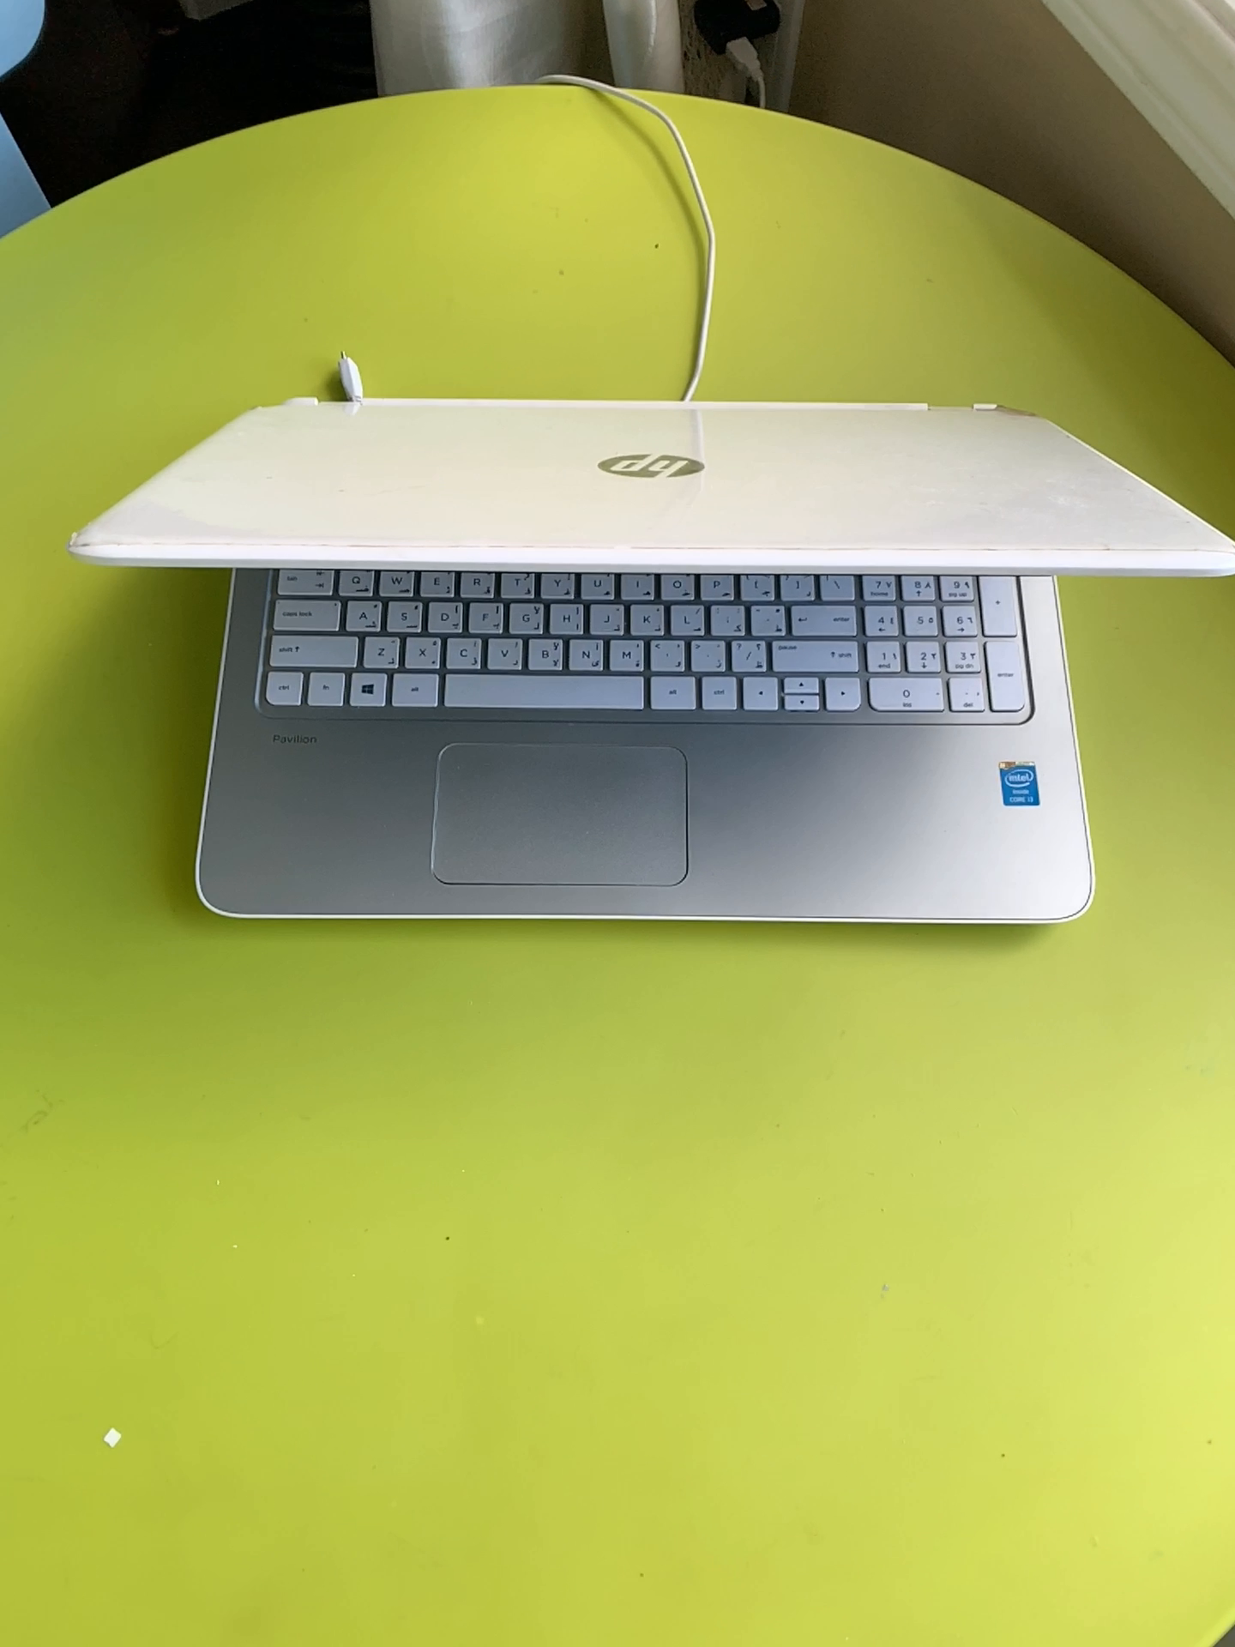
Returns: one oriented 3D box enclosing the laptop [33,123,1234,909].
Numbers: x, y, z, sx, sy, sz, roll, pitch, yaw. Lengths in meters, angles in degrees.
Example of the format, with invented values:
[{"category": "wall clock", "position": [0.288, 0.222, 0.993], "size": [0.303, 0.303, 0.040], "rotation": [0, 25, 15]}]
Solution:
[{"category": "laptop", "position": [0.014, -0.108, 0.491], "size": [0.367, 0.163, 0.244], "rotation": [0, 69, -1]}]
